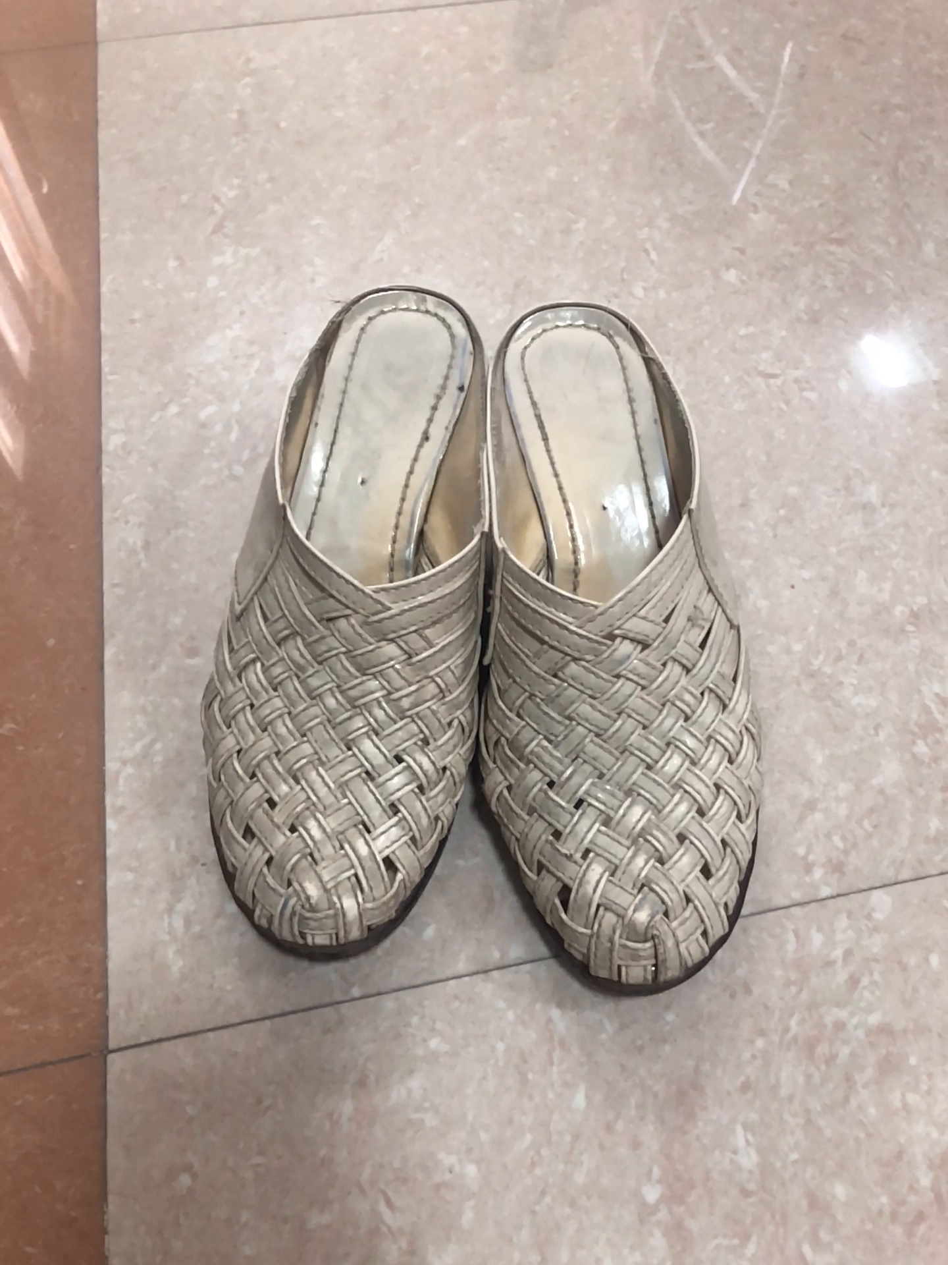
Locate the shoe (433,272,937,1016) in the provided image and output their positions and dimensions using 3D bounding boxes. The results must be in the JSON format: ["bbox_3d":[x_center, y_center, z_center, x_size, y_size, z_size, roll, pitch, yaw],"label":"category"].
[{"bbox_3d":[0.046,-0.007,0.338,0.100,0.085,0.222,-5,56,-3],"label":"shoe"}]

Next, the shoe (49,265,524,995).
[{"bbox_3d":[-0.042,-0.012,0.346,0.100,0.085,0.225,4,56,3],"label":"shoe"}]
